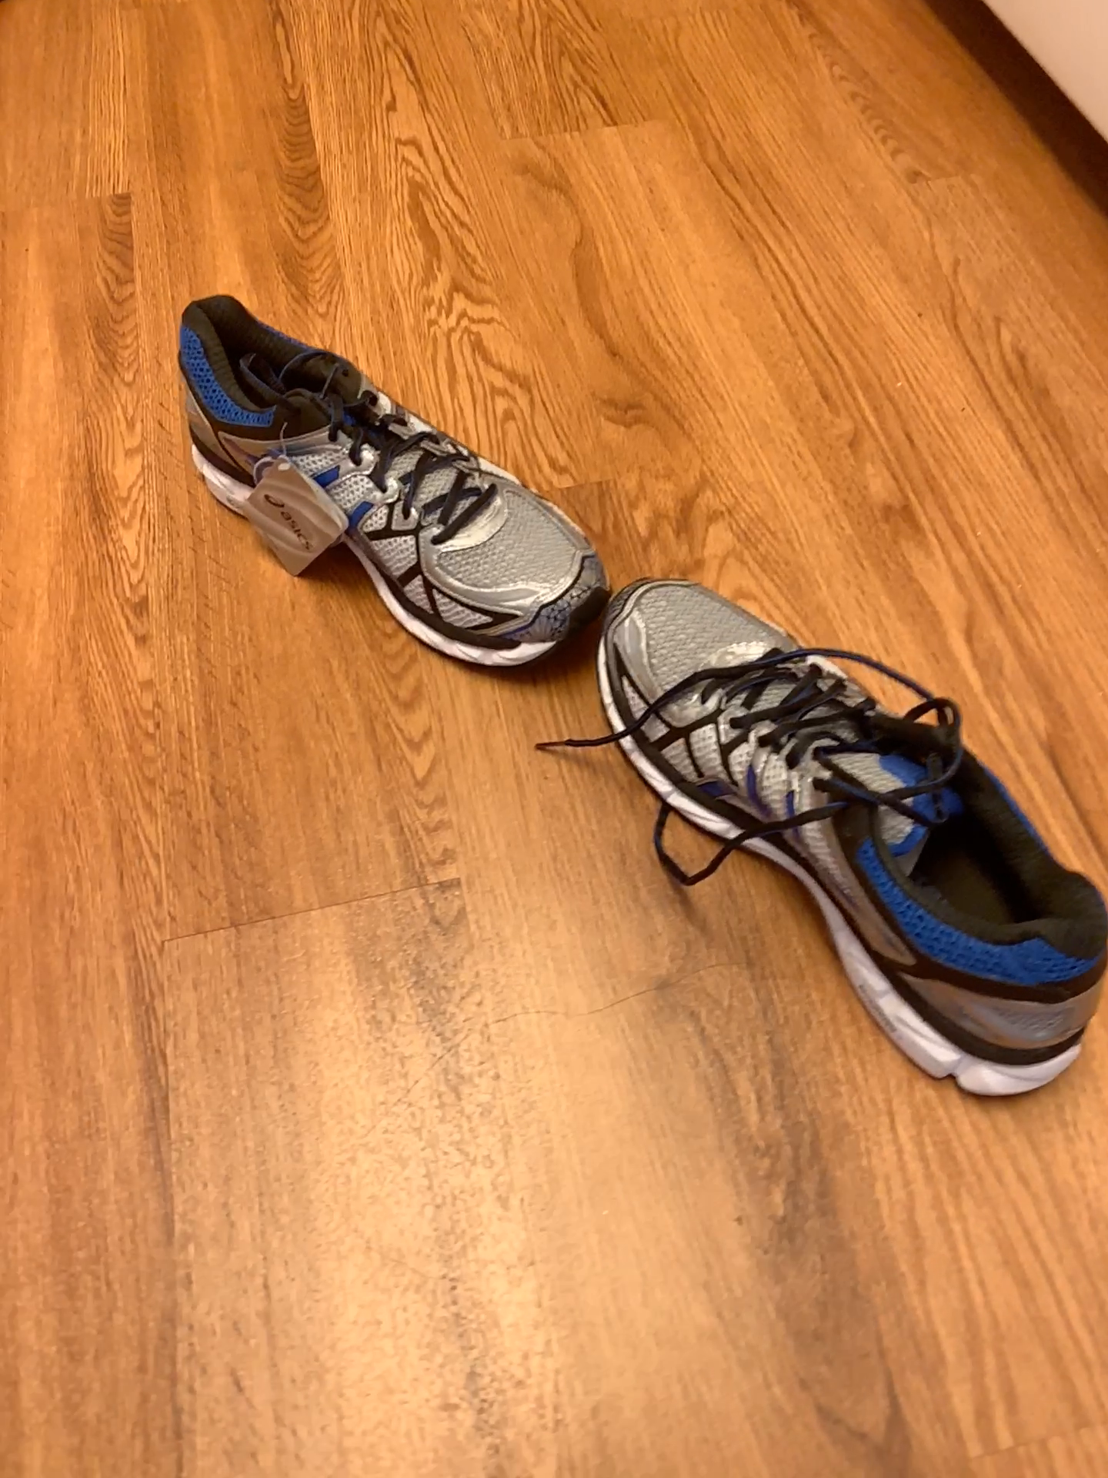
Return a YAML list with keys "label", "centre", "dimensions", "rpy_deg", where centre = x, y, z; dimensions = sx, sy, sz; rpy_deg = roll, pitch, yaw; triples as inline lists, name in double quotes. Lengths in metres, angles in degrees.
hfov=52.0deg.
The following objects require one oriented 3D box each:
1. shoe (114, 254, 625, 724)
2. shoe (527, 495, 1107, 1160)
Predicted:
- label: "shoe"
  centre: [-0.105, -0.148, 0.643]
  dimensions: [0.291, 0.100, 0.100]
  rpy_deg: [37, 65, 22]
- label: "shoe"
  centre: [0.127, 0.030, 0.533]
  dimensions: [0.100, 0.100, 0.311]
  rpy_deg: [-36, 64, -20]
